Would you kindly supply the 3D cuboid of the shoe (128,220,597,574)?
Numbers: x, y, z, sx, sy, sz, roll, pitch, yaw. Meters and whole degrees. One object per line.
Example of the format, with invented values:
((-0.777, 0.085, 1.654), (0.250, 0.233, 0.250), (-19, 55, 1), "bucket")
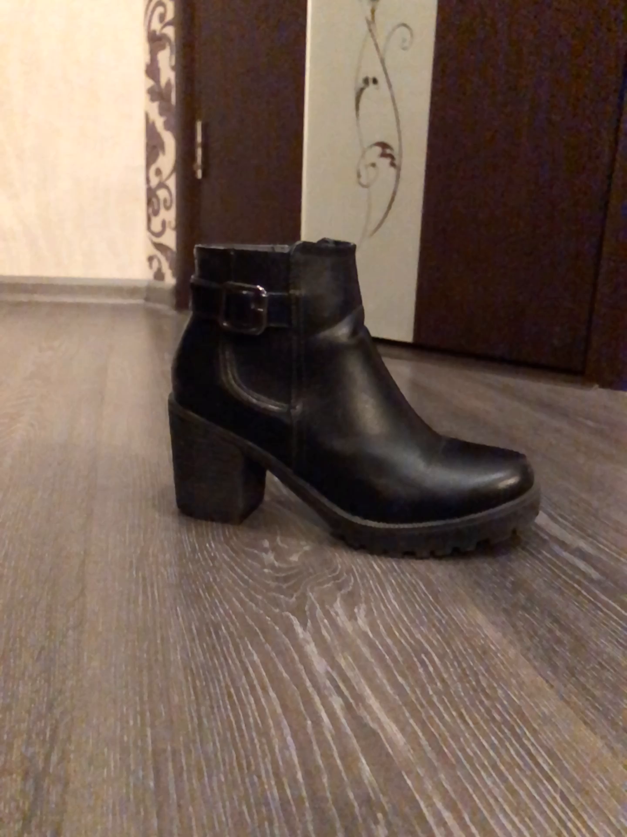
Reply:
((0.023, -0.021, 0.421), (0.240, 0.179, 0.090), (4, 15, 7), "shoe")
